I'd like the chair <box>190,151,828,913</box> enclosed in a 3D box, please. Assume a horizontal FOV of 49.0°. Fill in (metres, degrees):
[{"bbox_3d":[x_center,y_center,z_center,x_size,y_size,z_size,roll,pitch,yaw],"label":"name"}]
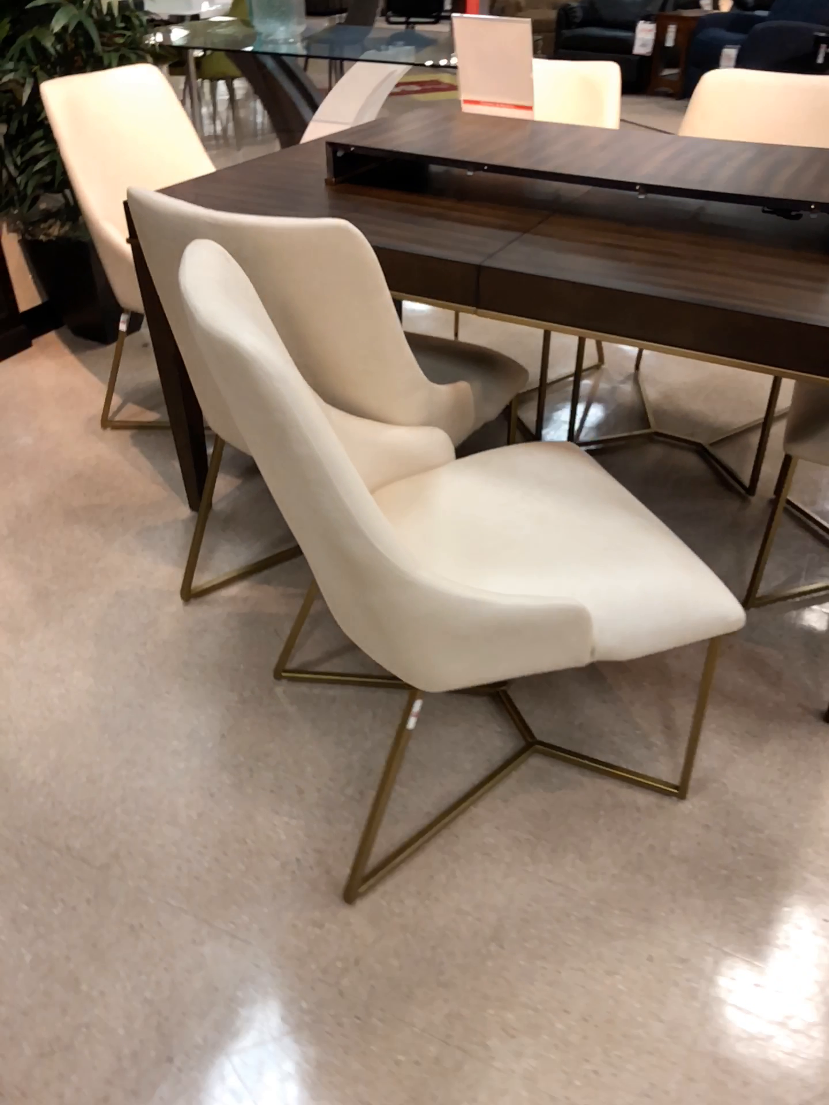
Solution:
[{"bbox_3d":[0.080,-0.046,1.377,0.640,0.904,0.544,-11,36,-15],"label":"chair"}]
